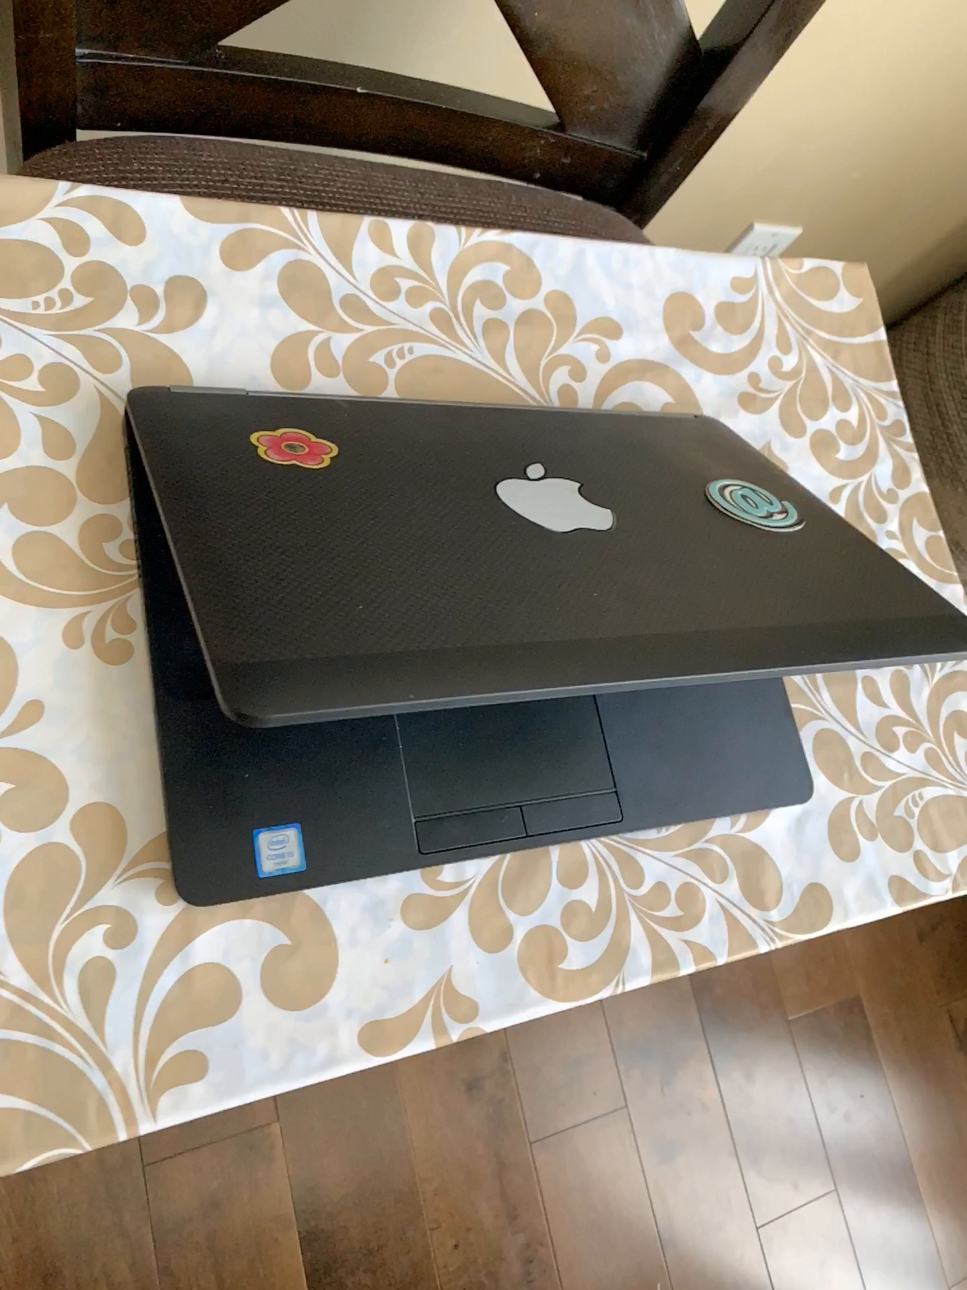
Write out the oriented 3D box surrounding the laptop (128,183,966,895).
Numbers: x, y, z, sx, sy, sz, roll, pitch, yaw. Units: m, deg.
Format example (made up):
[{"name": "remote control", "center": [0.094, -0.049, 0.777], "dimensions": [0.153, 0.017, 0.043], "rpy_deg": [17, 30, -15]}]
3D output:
[{"name": "laptop", "center": [0.034, -0.032, 0.393], "dimensions": [0.301, 0.127, 0.199], "rpy_deg": [-4, 73, -27]}]
